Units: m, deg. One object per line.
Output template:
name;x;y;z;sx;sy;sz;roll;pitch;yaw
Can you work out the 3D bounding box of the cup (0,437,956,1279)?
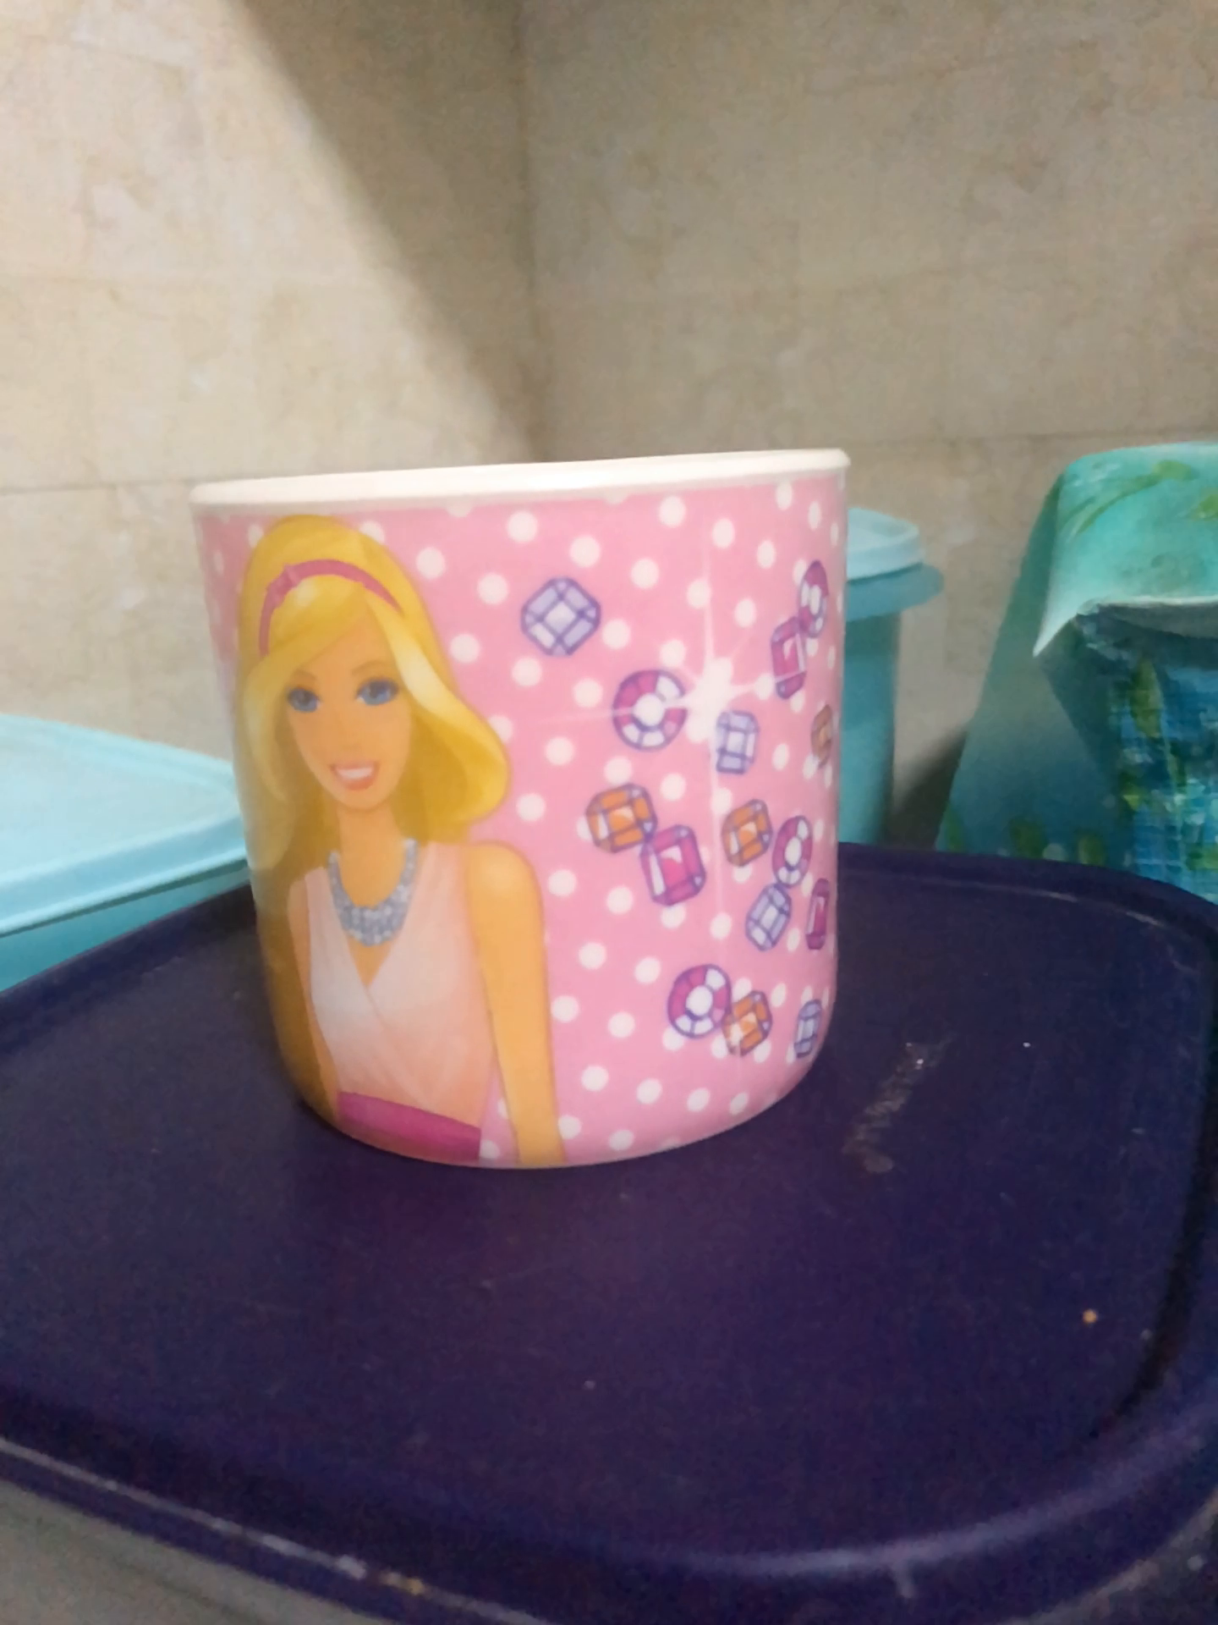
cup;-0.005;-0.010;0.197;0.080;0.080;0.120;5;17;28
